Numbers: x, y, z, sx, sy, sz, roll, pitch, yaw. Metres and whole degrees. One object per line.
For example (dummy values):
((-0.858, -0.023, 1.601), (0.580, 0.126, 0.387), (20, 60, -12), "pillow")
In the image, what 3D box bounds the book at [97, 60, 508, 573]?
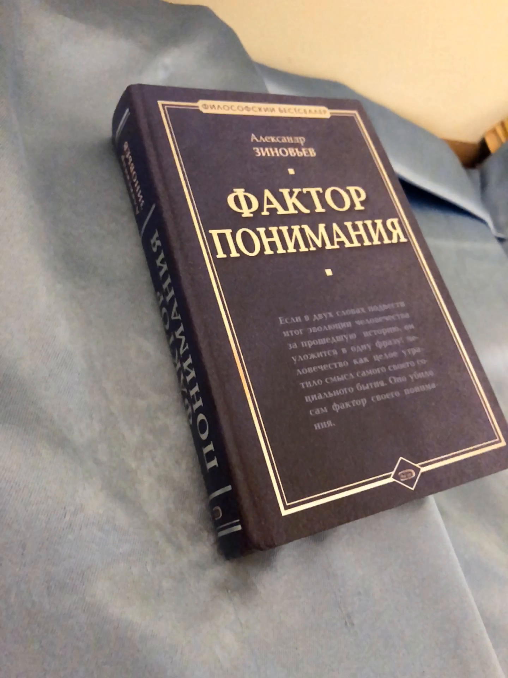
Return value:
((0.022, -0.029, 0.262), (0.141, 0.040, 0.220), (-9, 68, -25), "book")
